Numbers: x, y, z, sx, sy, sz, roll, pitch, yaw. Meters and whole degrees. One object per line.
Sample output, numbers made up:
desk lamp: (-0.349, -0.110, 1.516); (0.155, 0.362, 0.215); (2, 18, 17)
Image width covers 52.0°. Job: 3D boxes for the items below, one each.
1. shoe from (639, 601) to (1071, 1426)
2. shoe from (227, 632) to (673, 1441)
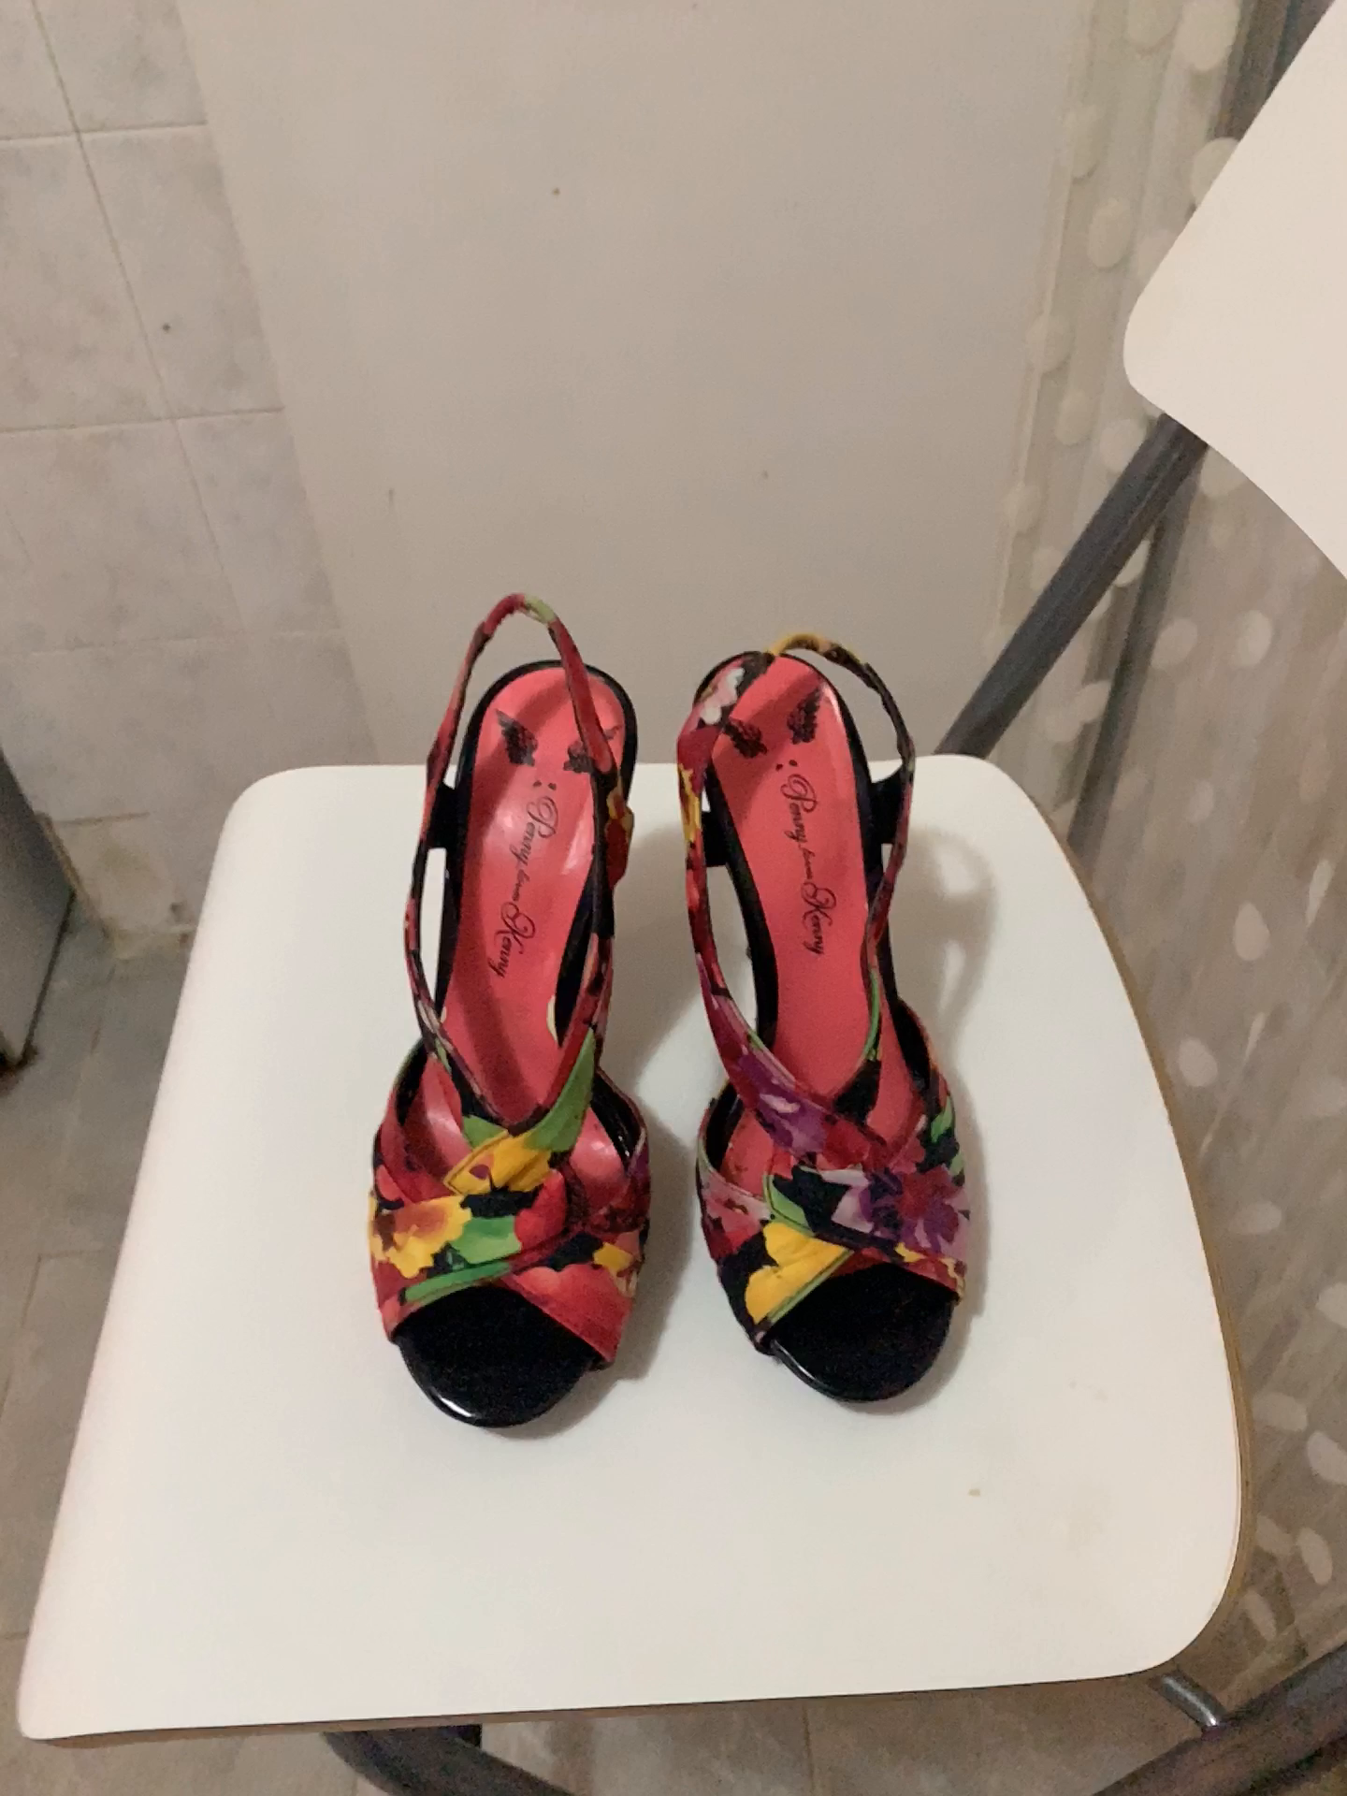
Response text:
shoe: (0.039, 0.029, 0.383); (0.080, 0.085, 0.205); (-5, 63, -1)
shoe: (-0.049, 0.033, 0.377); (0.082, 0.073, 0.205); (1, 63, 4)
